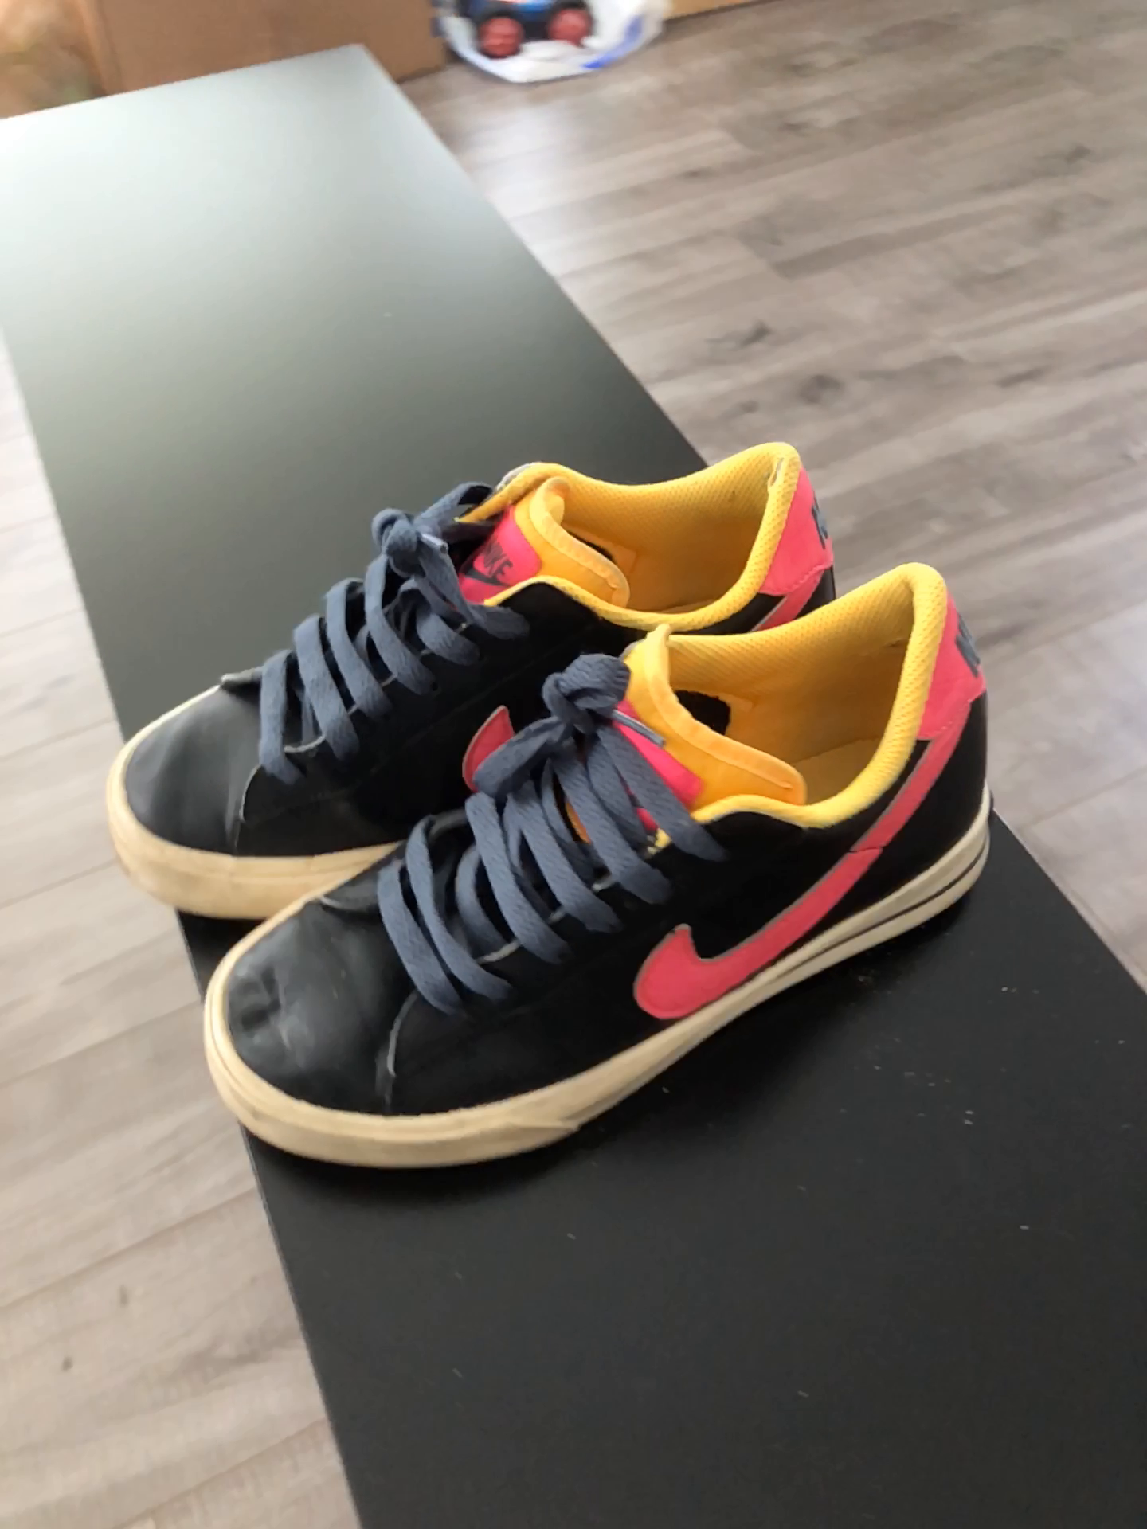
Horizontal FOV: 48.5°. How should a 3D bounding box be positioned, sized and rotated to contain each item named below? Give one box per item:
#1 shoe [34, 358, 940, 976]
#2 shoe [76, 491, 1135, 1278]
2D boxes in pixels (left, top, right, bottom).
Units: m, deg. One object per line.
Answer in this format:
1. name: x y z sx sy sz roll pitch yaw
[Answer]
1. shoe: -0.026 -0.035 0.403 0.244 0.100 0.096 -16 49 -11
2. shoe: 0.012 0.026 0.348 0.244 0.100 0.090 -21 50 -15
